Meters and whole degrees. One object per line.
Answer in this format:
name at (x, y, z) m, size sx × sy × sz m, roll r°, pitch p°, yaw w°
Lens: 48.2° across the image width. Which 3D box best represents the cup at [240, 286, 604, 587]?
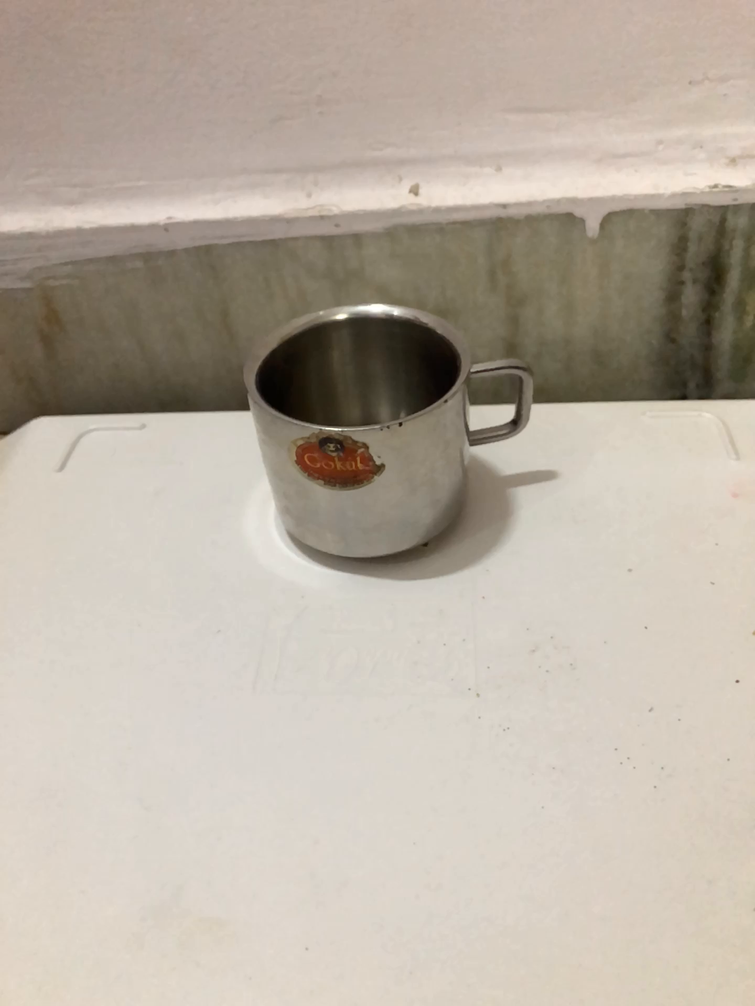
cup at (0.011, -0.025, 0.277) m, size 0.100 × 0.050 × 0.081 m, roll -7°, pitch 41°, yaw -1°
